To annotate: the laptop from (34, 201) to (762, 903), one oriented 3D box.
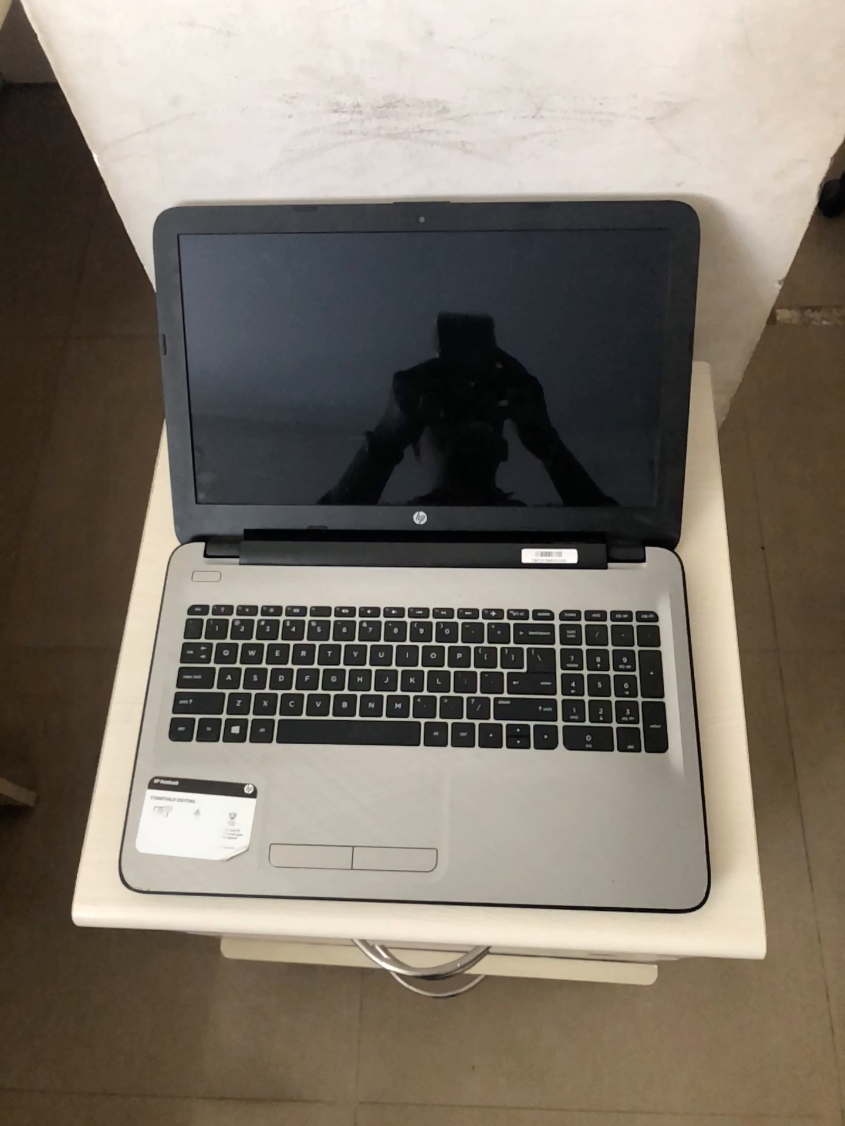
[{"bbox_3d":[-0.005,-0.017,0.605,0.361,0.136,0.426,1,67,4],"label":"laptop"}]
